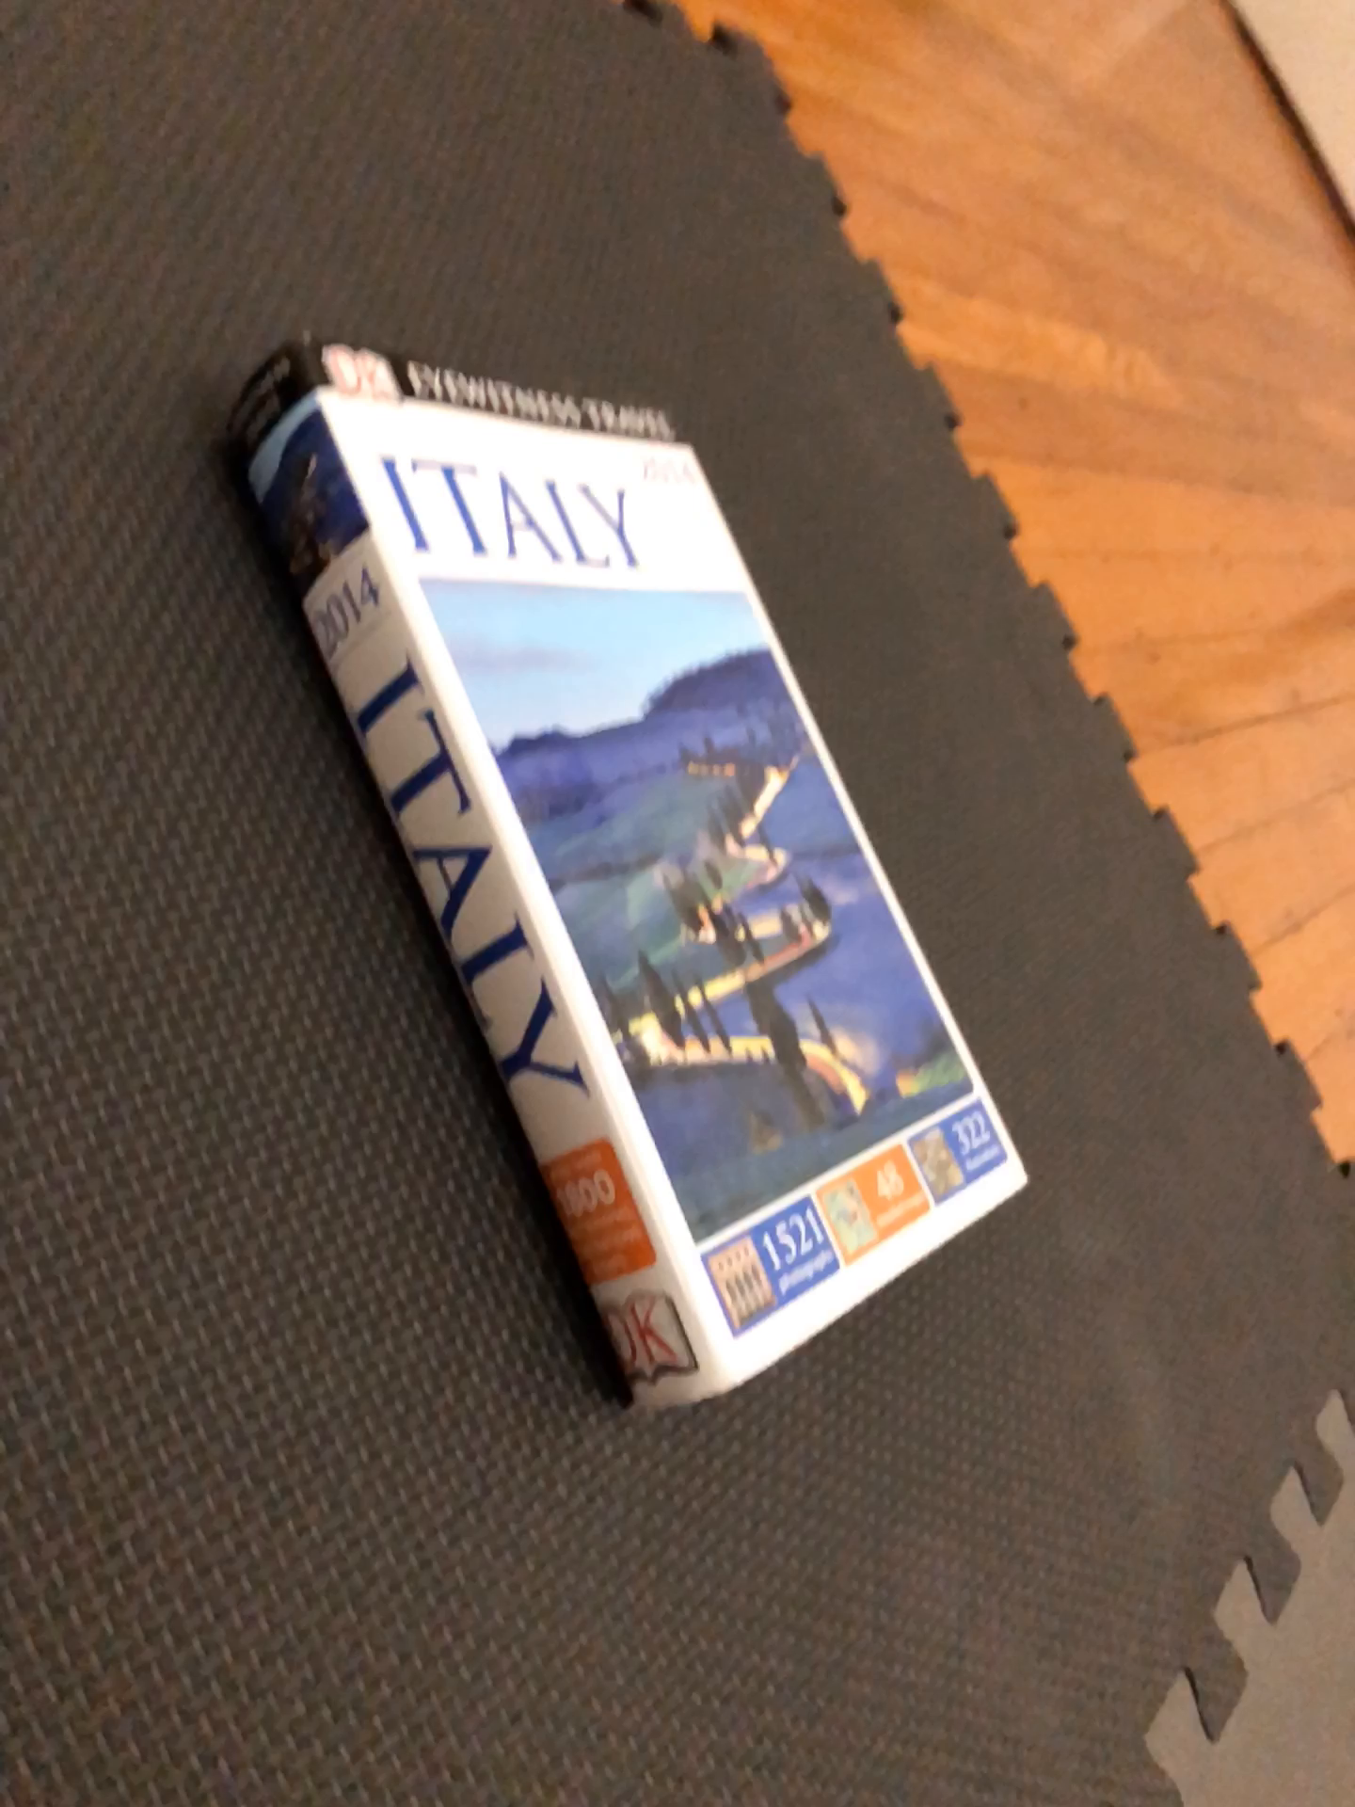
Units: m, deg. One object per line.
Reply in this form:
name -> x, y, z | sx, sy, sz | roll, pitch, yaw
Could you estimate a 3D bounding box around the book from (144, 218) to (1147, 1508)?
book -> 0.004, -0.023, 0.344 | 0.161, 0.040, 0.250 | -16, 79, -51
